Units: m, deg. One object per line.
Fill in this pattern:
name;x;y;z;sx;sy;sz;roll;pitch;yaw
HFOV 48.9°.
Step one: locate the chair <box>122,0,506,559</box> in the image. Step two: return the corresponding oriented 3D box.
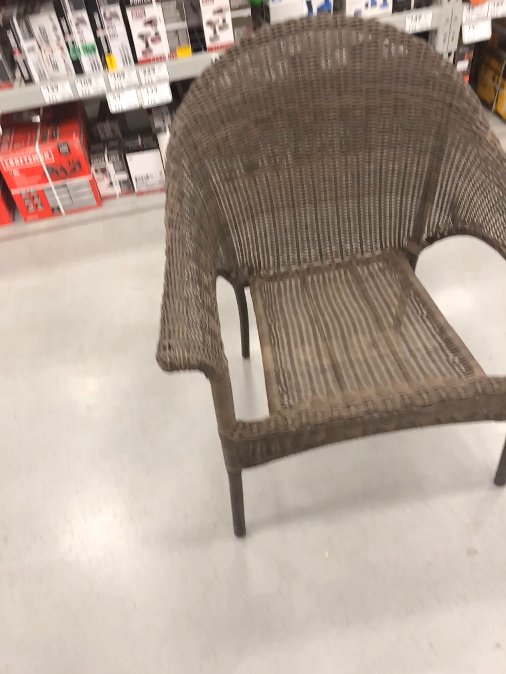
chair;0.188;-0.137;1.170;0.720;0.797;0.763;-11;46;-2
